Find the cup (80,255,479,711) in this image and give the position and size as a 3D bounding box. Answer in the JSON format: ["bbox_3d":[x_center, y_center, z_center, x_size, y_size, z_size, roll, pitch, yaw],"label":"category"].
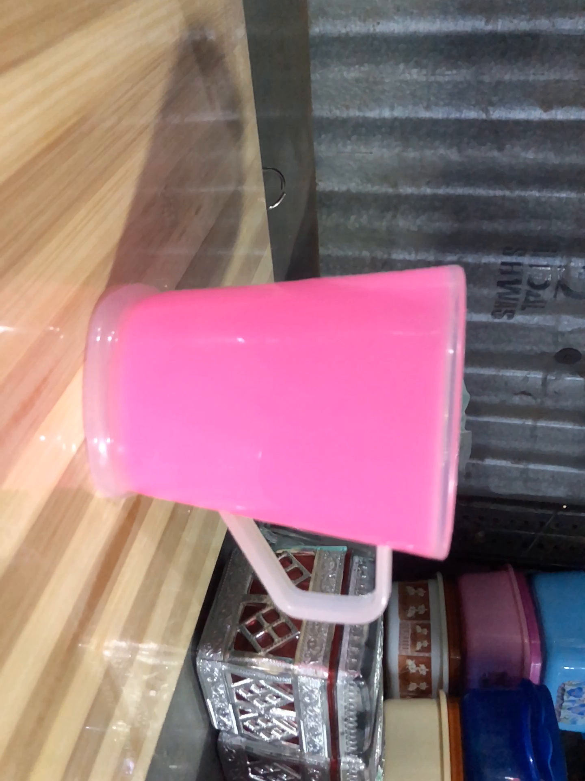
[{"bbox_3d":[0.000,0.022,0.210,0.070,0.100,0.120,-59,151,-70],"label":"cup"}]
